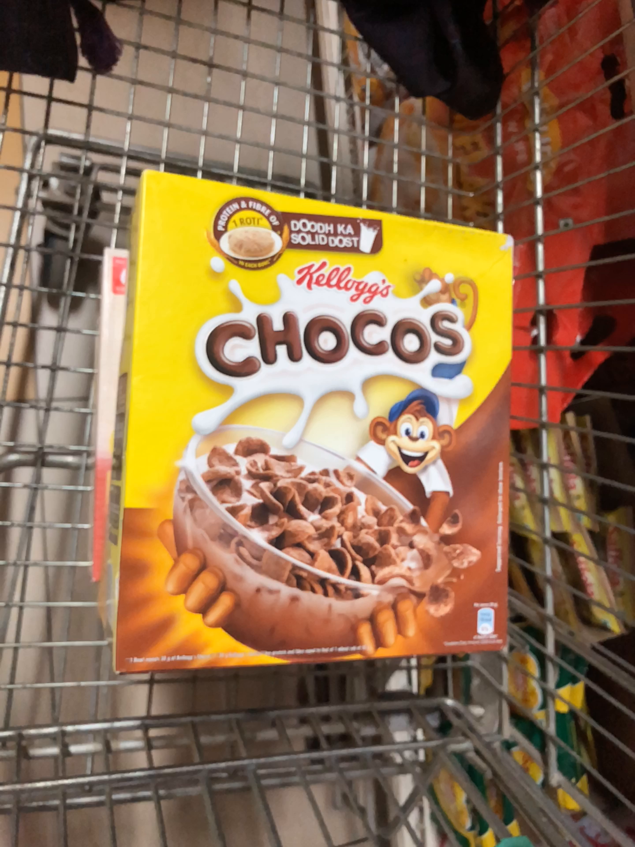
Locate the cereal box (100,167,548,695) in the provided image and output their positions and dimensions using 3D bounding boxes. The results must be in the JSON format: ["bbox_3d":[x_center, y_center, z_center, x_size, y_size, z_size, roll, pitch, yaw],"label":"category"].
[{"bbox_3d":[0.004,0.007,0.319,0.180,0.070,0.190,4,87,-20],"label":"cereal box"}]
